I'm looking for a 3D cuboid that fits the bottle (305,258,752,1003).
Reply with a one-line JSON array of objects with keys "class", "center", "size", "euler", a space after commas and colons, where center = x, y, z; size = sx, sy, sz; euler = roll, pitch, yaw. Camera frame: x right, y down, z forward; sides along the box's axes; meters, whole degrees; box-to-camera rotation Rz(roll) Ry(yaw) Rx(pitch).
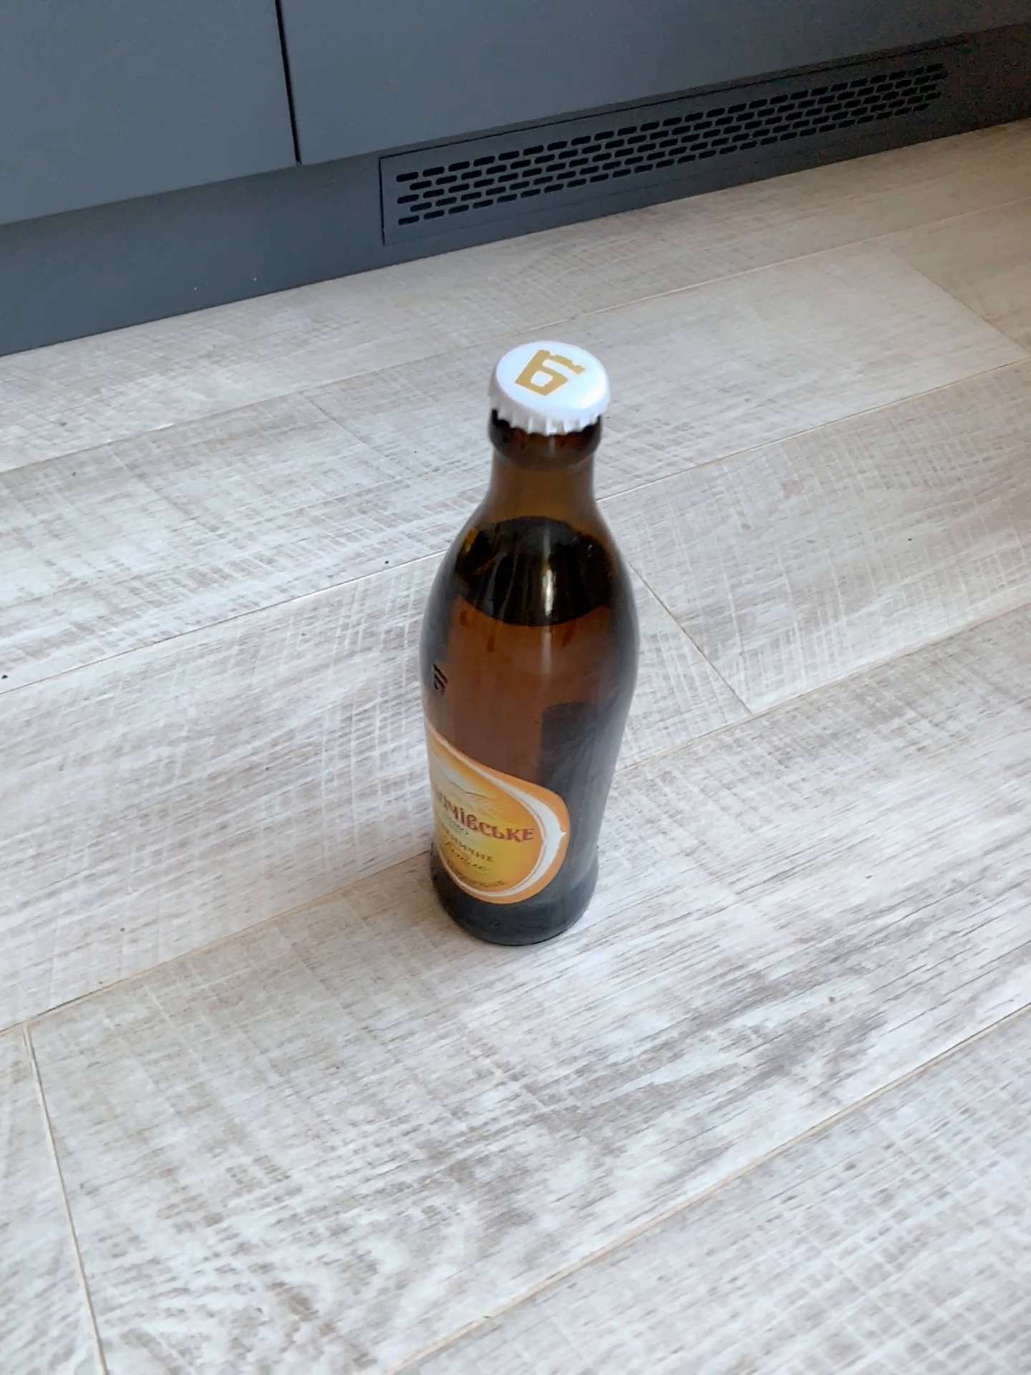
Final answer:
[{"class": "bottle", "center": [-0.001, 0.003, 0.322], "size": [0.070, 0.229, 0.070], "euler": [1, 51, -1]}]
